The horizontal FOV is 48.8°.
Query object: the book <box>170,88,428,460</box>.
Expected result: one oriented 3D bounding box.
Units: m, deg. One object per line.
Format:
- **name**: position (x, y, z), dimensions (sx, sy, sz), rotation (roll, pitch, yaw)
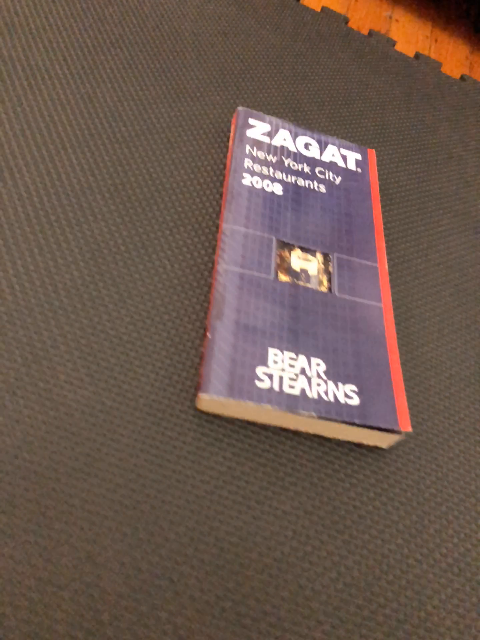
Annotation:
- **book**: position (0.037, -0.040, 0.313), dimensions (0.120, 0.030, 0.221), rotation (14, 56, -13)
